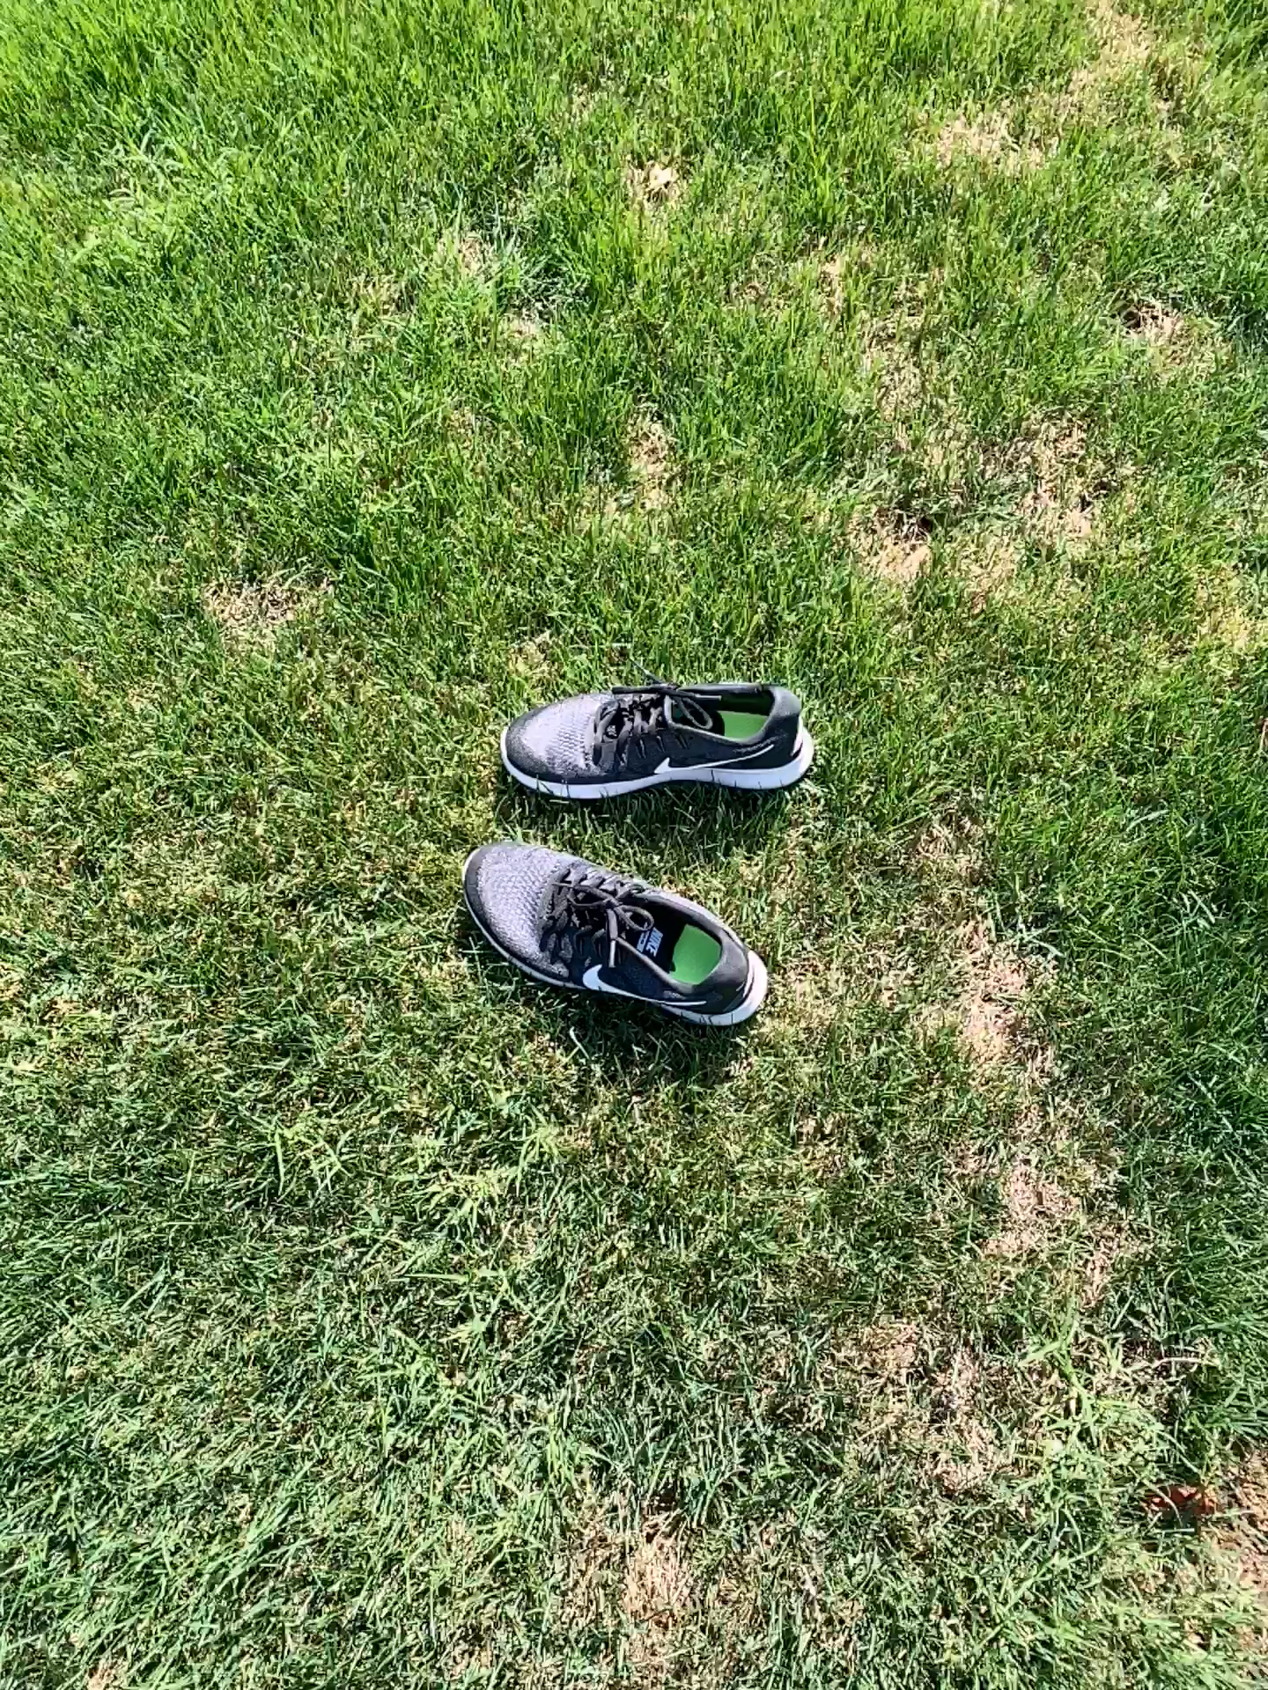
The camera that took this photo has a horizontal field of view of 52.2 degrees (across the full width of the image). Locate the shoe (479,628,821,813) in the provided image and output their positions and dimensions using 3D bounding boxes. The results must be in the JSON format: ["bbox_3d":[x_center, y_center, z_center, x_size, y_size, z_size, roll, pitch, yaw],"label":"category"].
[{"bbox_3d":[0.013,-0.103,1.099,0.270,0.130,0.100,-2,69,1],"label":"shoe"}]

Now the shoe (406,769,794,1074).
[{"bbox_3d":[-0.025,0.064,1.042,0.280,0.130,0.100,25,72,11],"label":"shoe"}]
